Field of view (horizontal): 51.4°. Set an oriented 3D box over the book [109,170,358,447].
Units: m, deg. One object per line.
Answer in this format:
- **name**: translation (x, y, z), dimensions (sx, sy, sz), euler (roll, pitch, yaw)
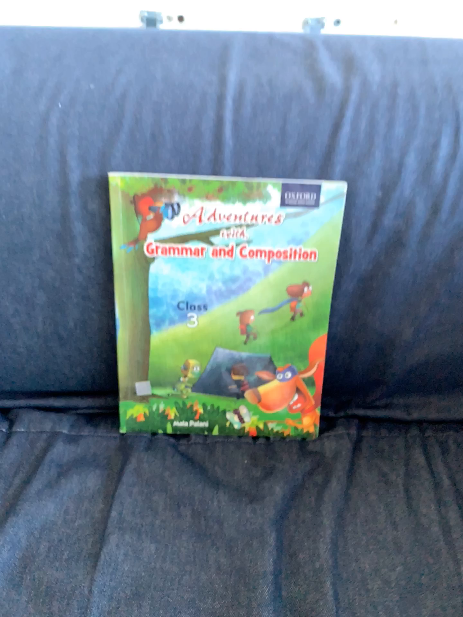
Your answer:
- **book**: translation (-0.003, 0.009, 0.470), dimensions (0.212, 0.269, 0.030), euler (2, 21, 0)
